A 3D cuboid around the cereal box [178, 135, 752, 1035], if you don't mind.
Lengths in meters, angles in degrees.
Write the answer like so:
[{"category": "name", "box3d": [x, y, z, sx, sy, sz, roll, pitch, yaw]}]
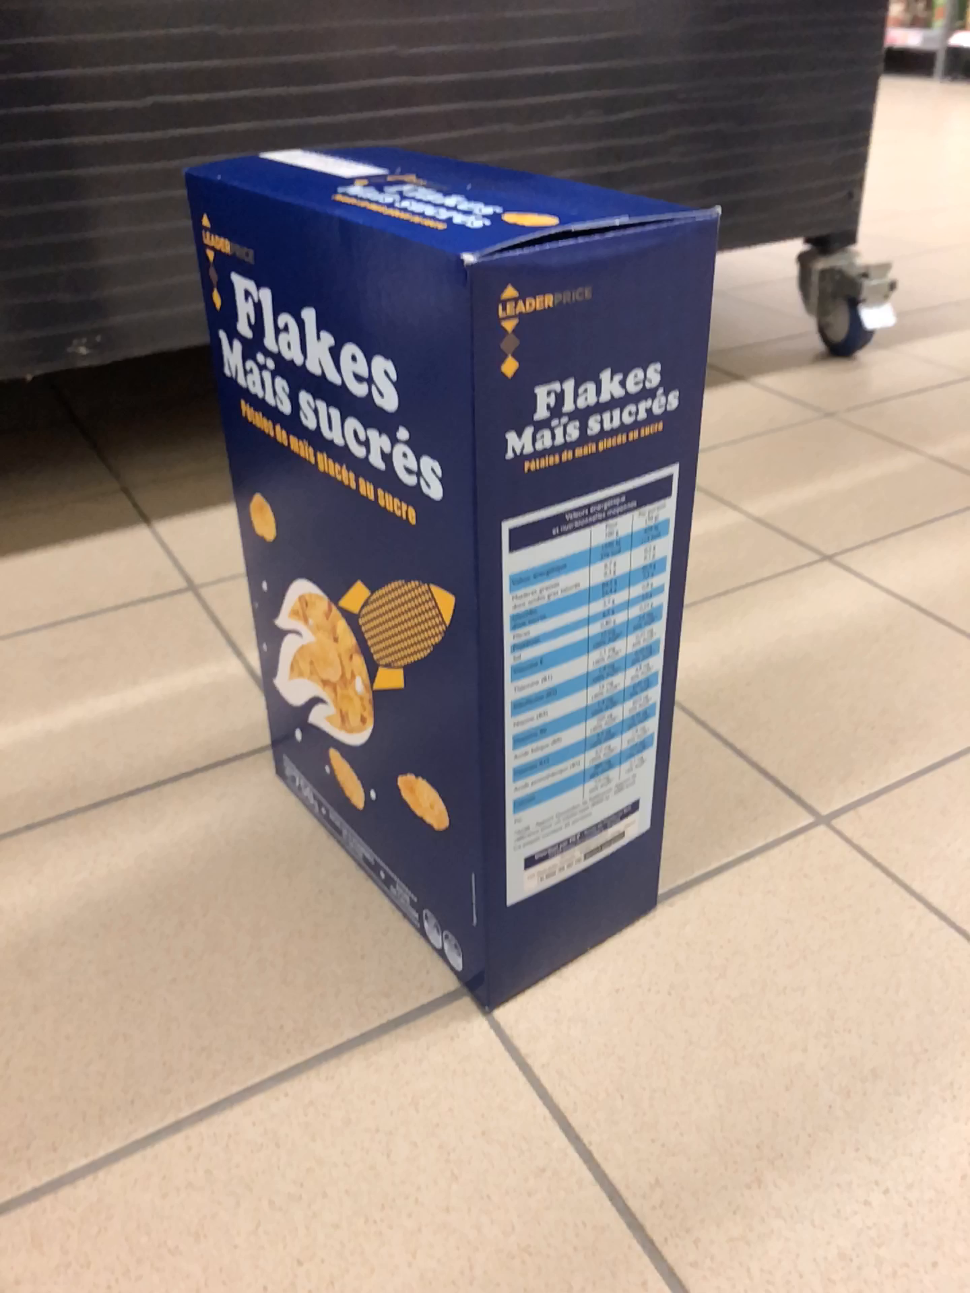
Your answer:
[{"category": "cereal box", "box3d": [-0.016, -0.034, 0.454, 0.100, 0.308, 0.210, -21, 36, -29]}]
